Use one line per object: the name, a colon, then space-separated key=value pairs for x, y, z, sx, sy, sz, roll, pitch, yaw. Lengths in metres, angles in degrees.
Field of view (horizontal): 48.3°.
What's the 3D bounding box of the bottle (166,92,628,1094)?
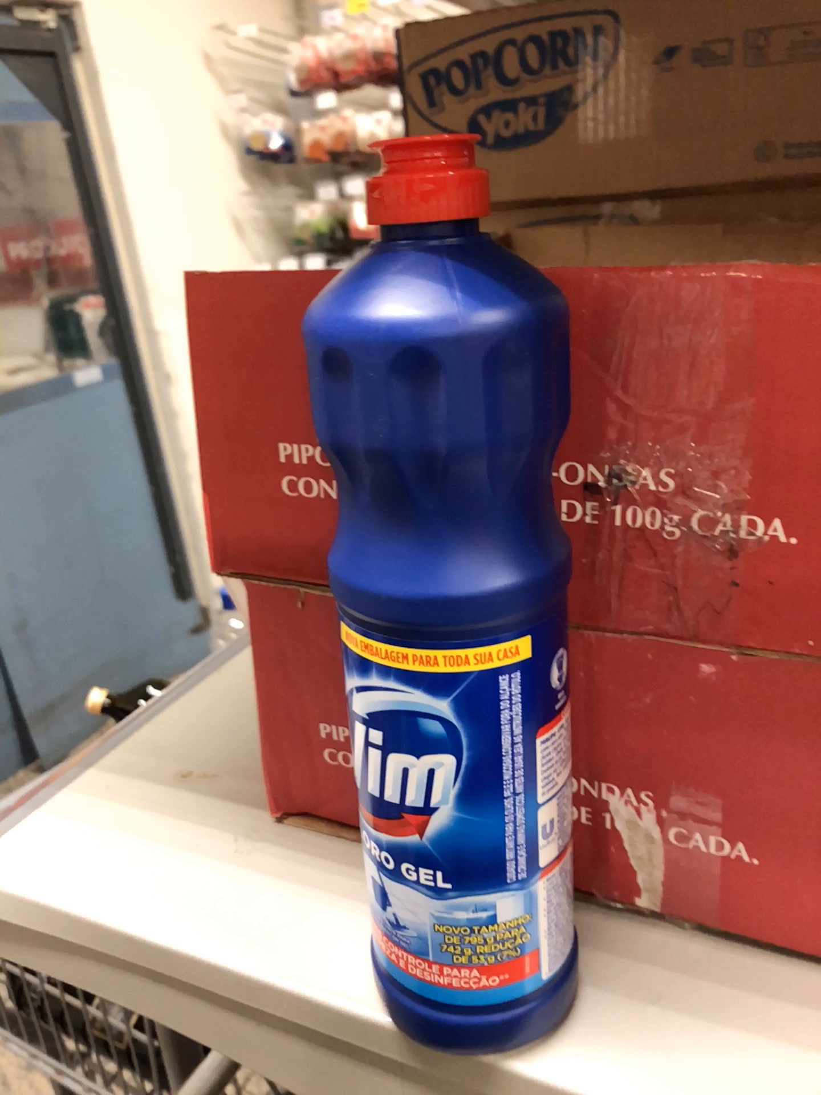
bottle: x=0.005 y=0.015 z=0.235 sx=0.070 sy=0.229 sz=0.060 roll=11 pitch=26 yaw=42
